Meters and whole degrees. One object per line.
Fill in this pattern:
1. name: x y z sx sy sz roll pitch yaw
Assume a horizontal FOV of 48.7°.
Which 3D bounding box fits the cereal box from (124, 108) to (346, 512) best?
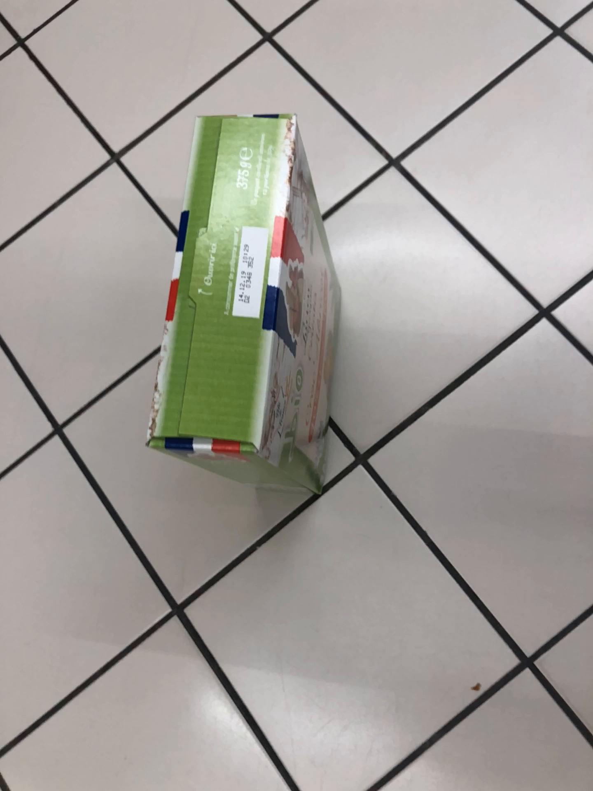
1. cereal box: -0.021 -0.032 0.454 0.070 0.240 0.200 3 76 11
